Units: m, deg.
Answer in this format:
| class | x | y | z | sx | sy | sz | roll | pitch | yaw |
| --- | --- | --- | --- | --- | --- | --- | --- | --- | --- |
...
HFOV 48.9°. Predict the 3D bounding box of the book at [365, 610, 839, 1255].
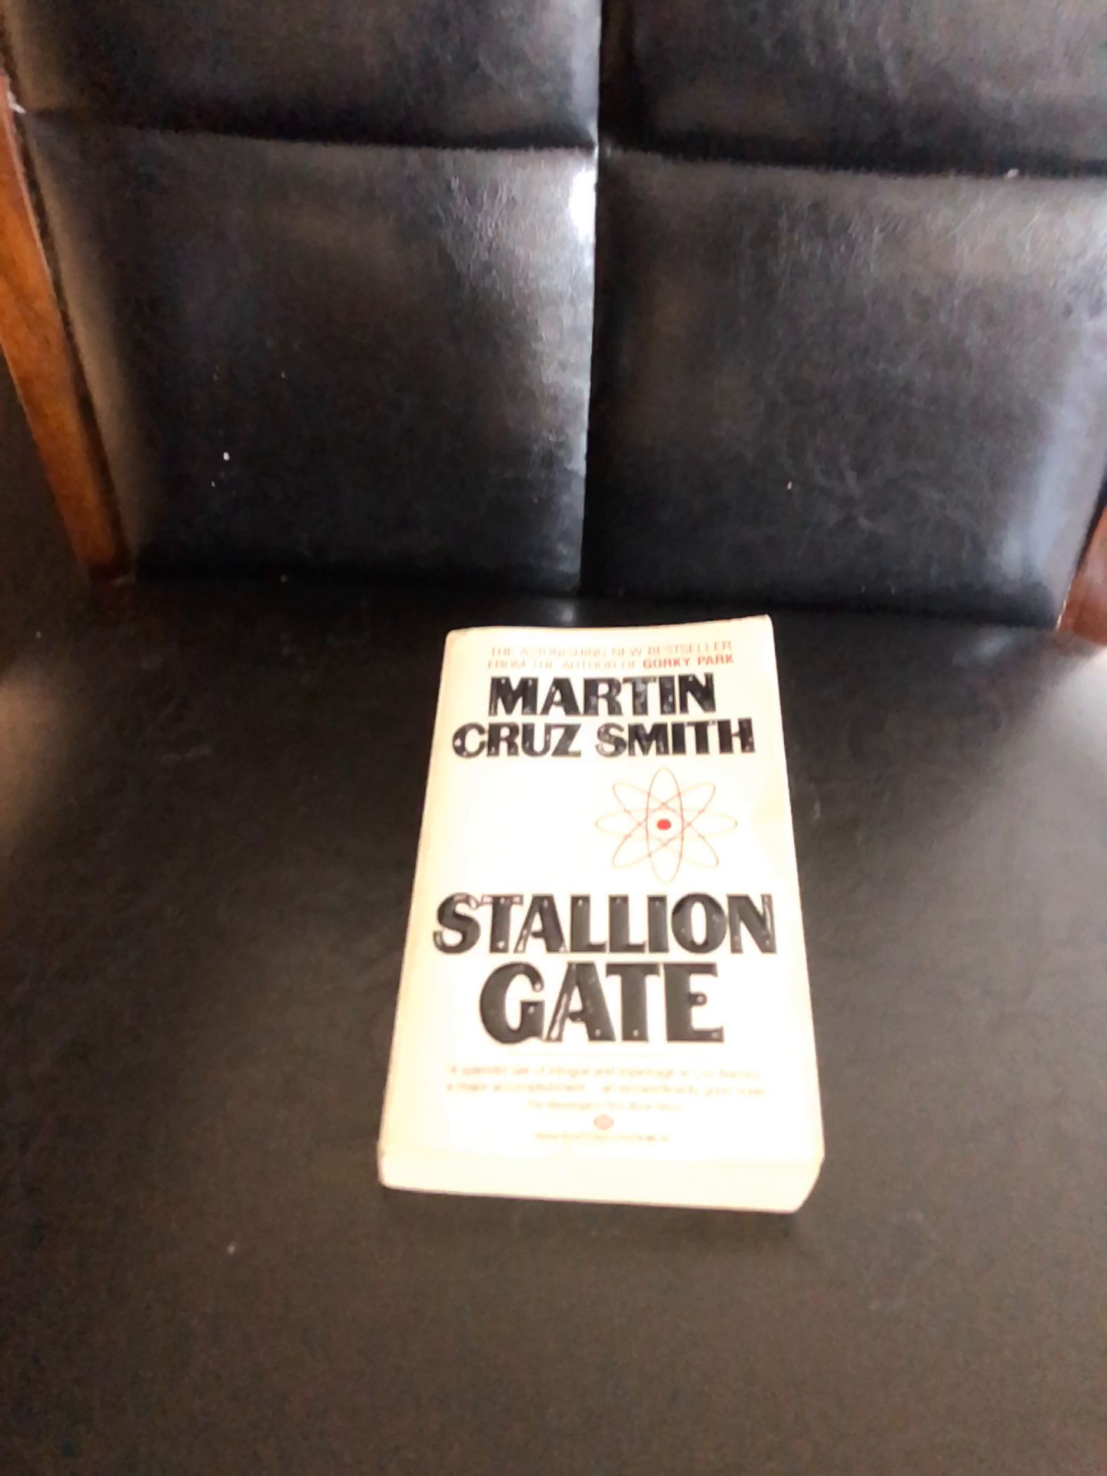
| class | x | y | z | sx | sy | sz | roll | pitch | yaw |
| --- | --- | --- | --- | --- | --- | --- | --- | --- | --- |
| book | 0.016 | 0.043 | 0.354 | 0.110 | 0.030 | 0.191 | 2 | 51 | 2 |
